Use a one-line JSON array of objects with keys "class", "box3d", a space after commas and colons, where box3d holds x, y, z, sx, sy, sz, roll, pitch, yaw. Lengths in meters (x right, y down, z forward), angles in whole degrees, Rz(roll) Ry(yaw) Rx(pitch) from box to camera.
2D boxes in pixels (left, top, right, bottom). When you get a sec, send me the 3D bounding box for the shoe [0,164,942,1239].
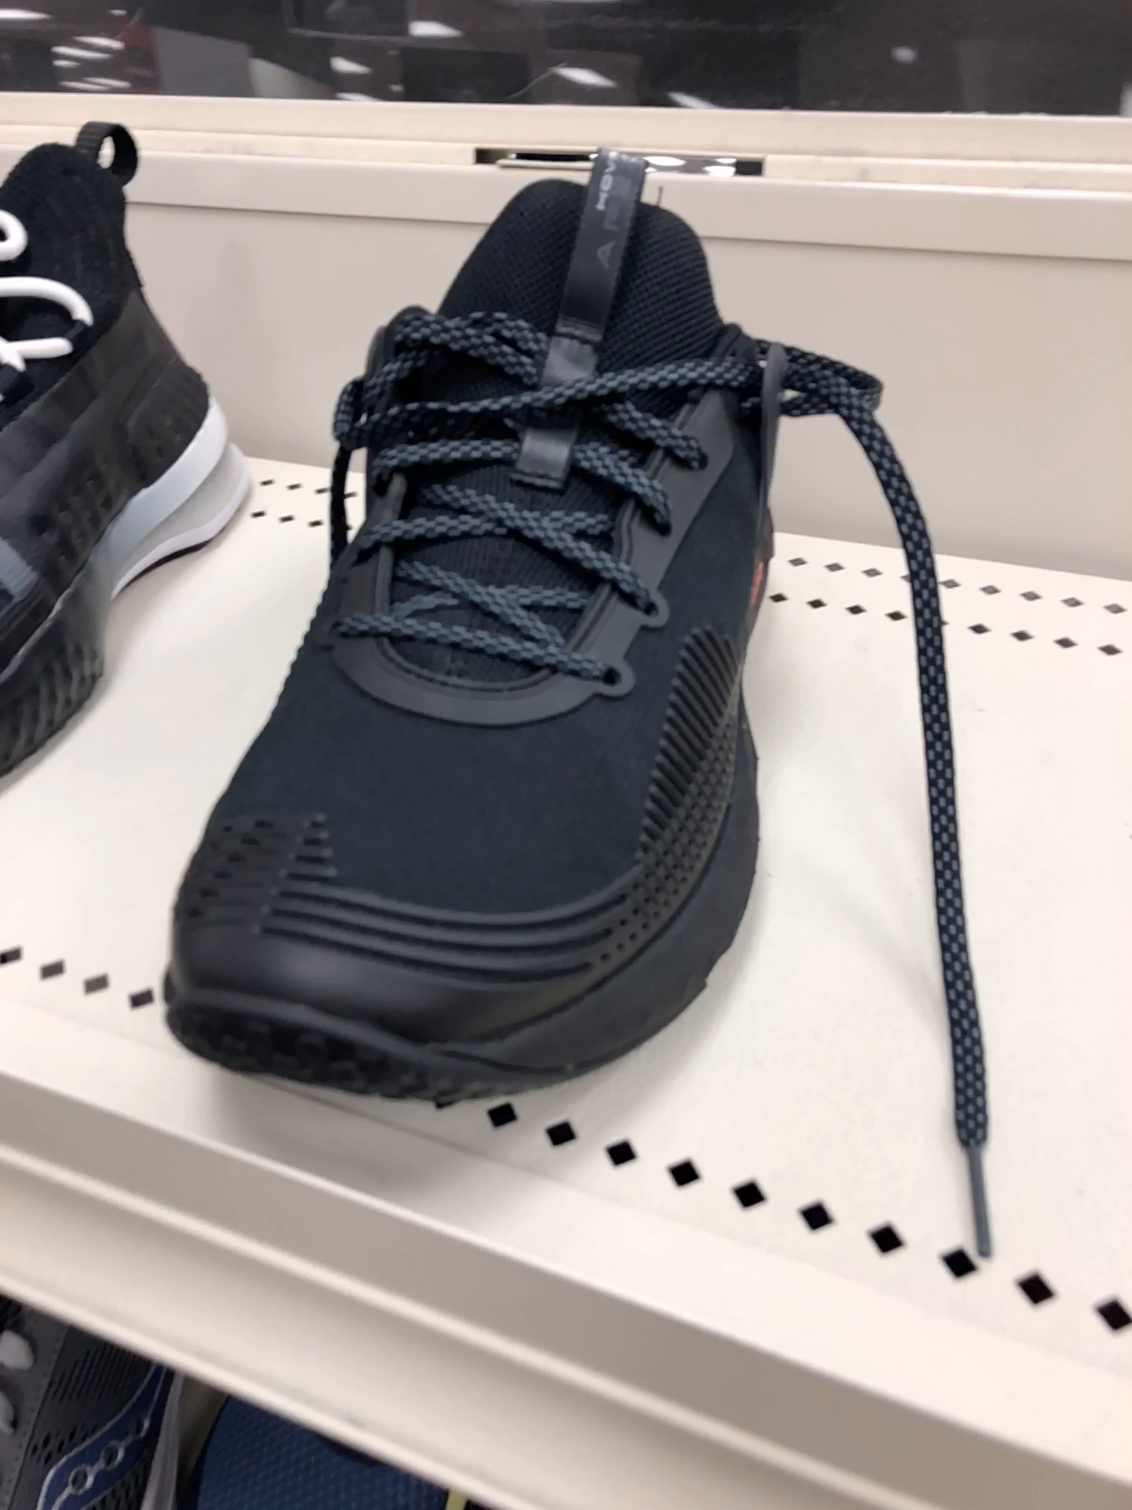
[{"class": "shoe", "box3d": [0.014, -0.071, 0.332, 0.120, 0.129, 0.353, 10, 31, 16]}]
